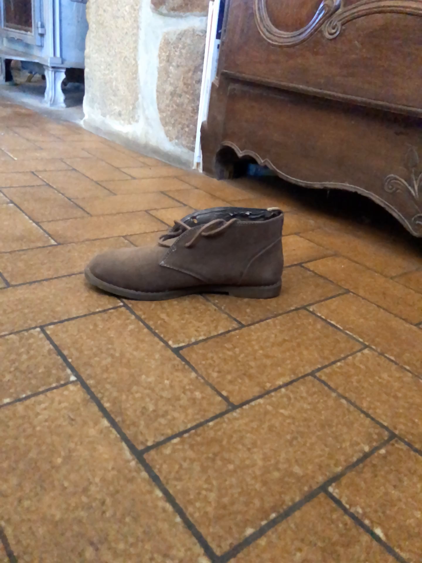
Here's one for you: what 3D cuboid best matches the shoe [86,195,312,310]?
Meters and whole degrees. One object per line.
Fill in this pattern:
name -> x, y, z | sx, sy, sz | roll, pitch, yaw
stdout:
shoe -> -0.021, -0.035, 0.568 | 0.250, 0.099, 0.100 | 1, 26, -13
